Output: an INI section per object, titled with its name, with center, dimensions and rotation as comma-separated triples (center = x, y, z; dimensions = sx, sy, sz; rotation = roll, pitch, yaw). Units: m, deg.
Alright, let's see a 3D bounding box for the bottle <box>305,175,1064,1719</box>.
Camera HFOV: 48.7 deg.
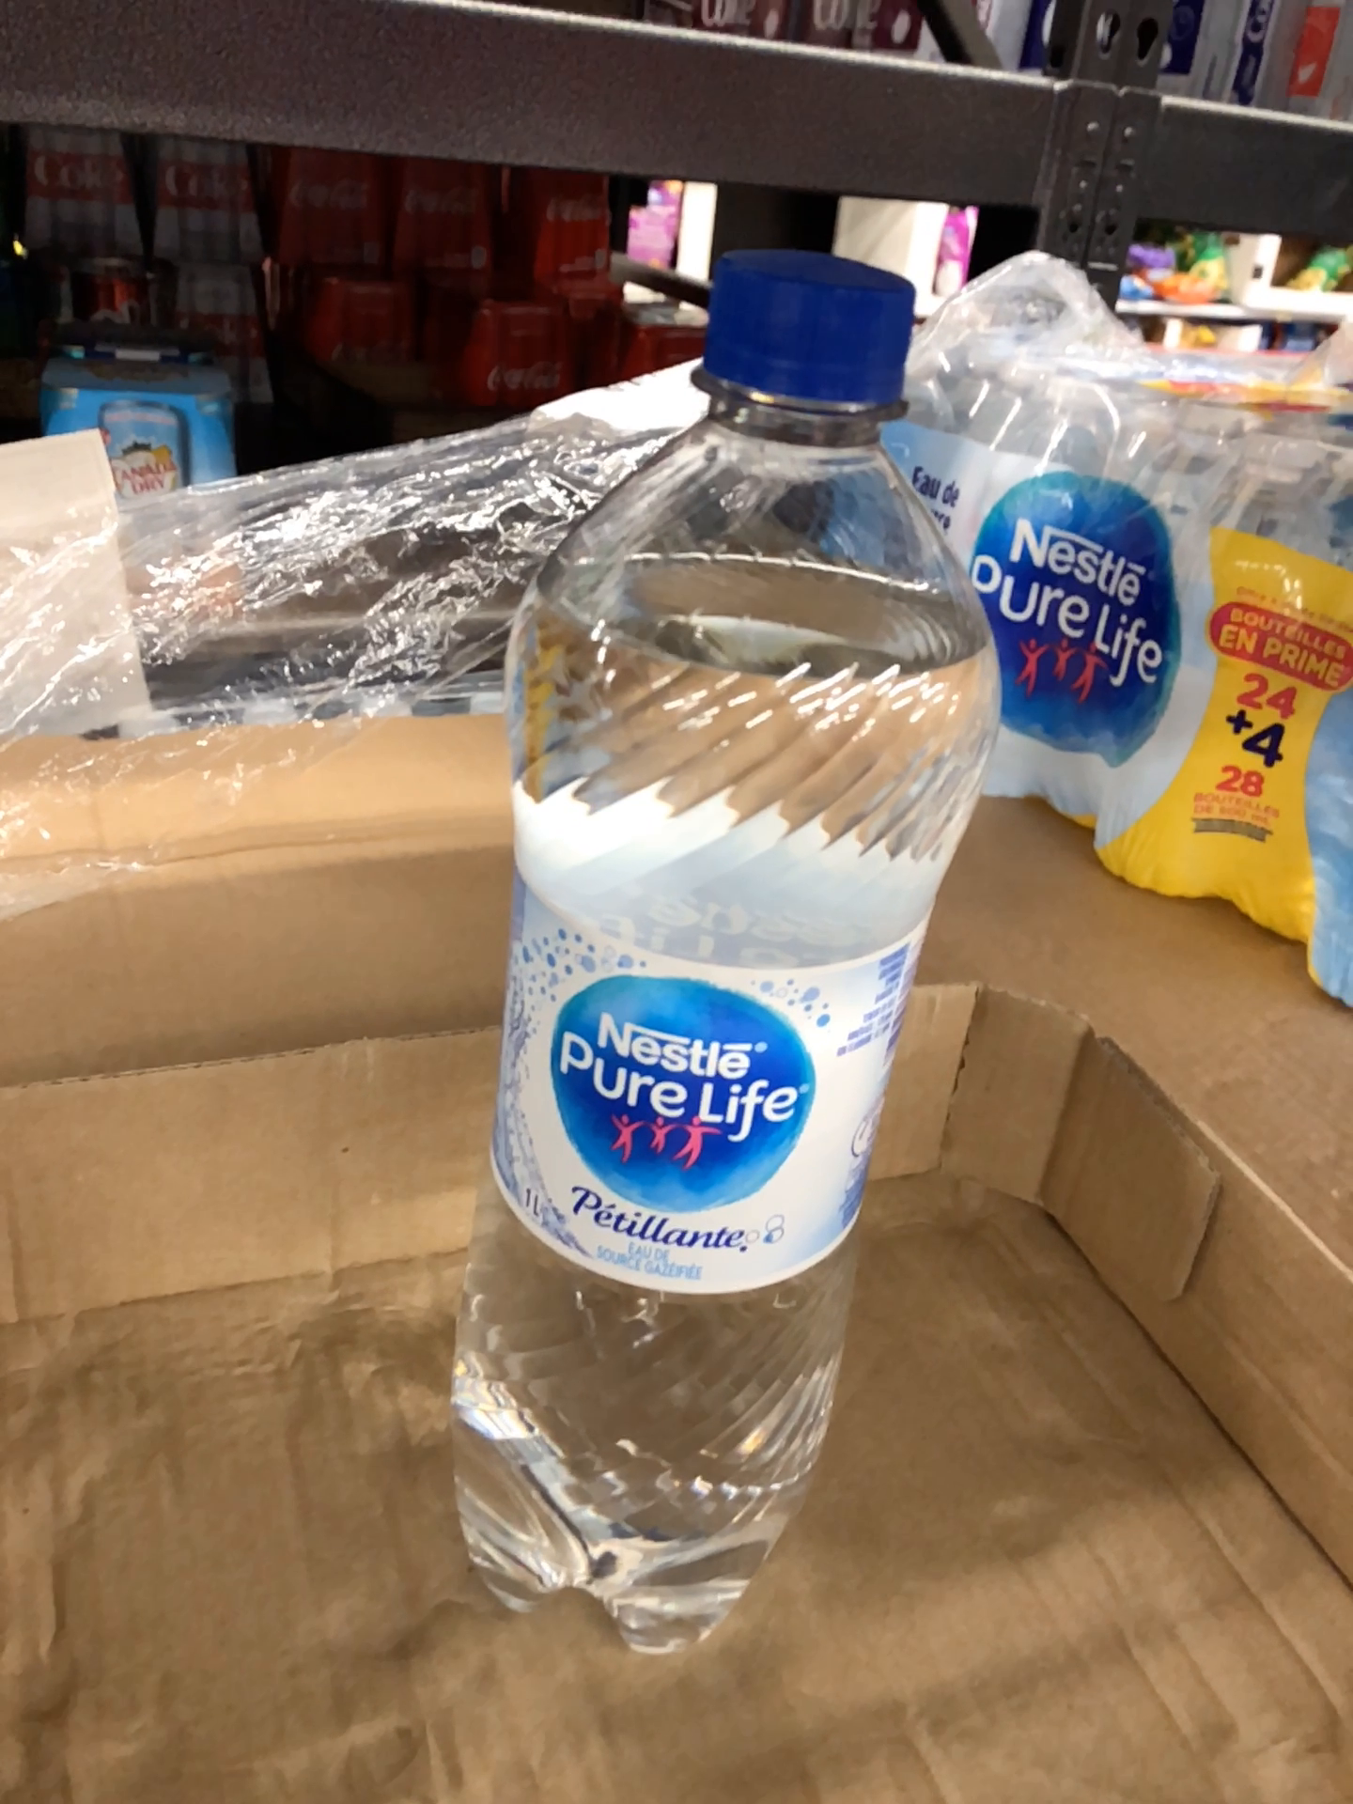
[bottle]
center = -0.004, 0.015, 0.298
dimensions = 0.100, 0.278, 0.101
rotation = 5, 27, -3
